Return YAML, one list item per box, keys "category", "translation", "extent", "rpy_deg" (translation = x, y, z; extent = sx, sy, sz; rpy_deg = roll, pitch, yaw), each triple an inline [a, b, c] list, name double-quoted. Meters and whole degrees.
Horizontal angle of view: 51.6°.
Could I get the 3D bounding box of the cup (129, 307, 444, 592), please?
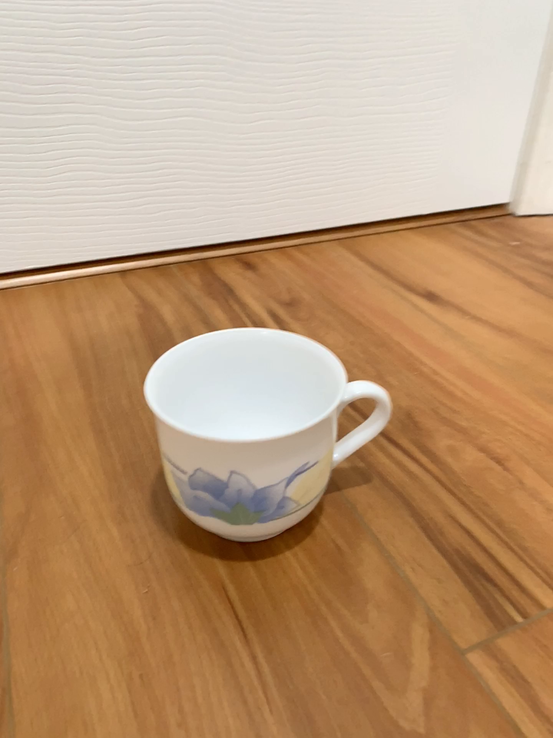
- category: "cup"
  translation: [-0.002, 0.026, 0.244]
  extent: [0.103, 0.063, 0.084]
  rpy_deg: [-10, 34, -16]
